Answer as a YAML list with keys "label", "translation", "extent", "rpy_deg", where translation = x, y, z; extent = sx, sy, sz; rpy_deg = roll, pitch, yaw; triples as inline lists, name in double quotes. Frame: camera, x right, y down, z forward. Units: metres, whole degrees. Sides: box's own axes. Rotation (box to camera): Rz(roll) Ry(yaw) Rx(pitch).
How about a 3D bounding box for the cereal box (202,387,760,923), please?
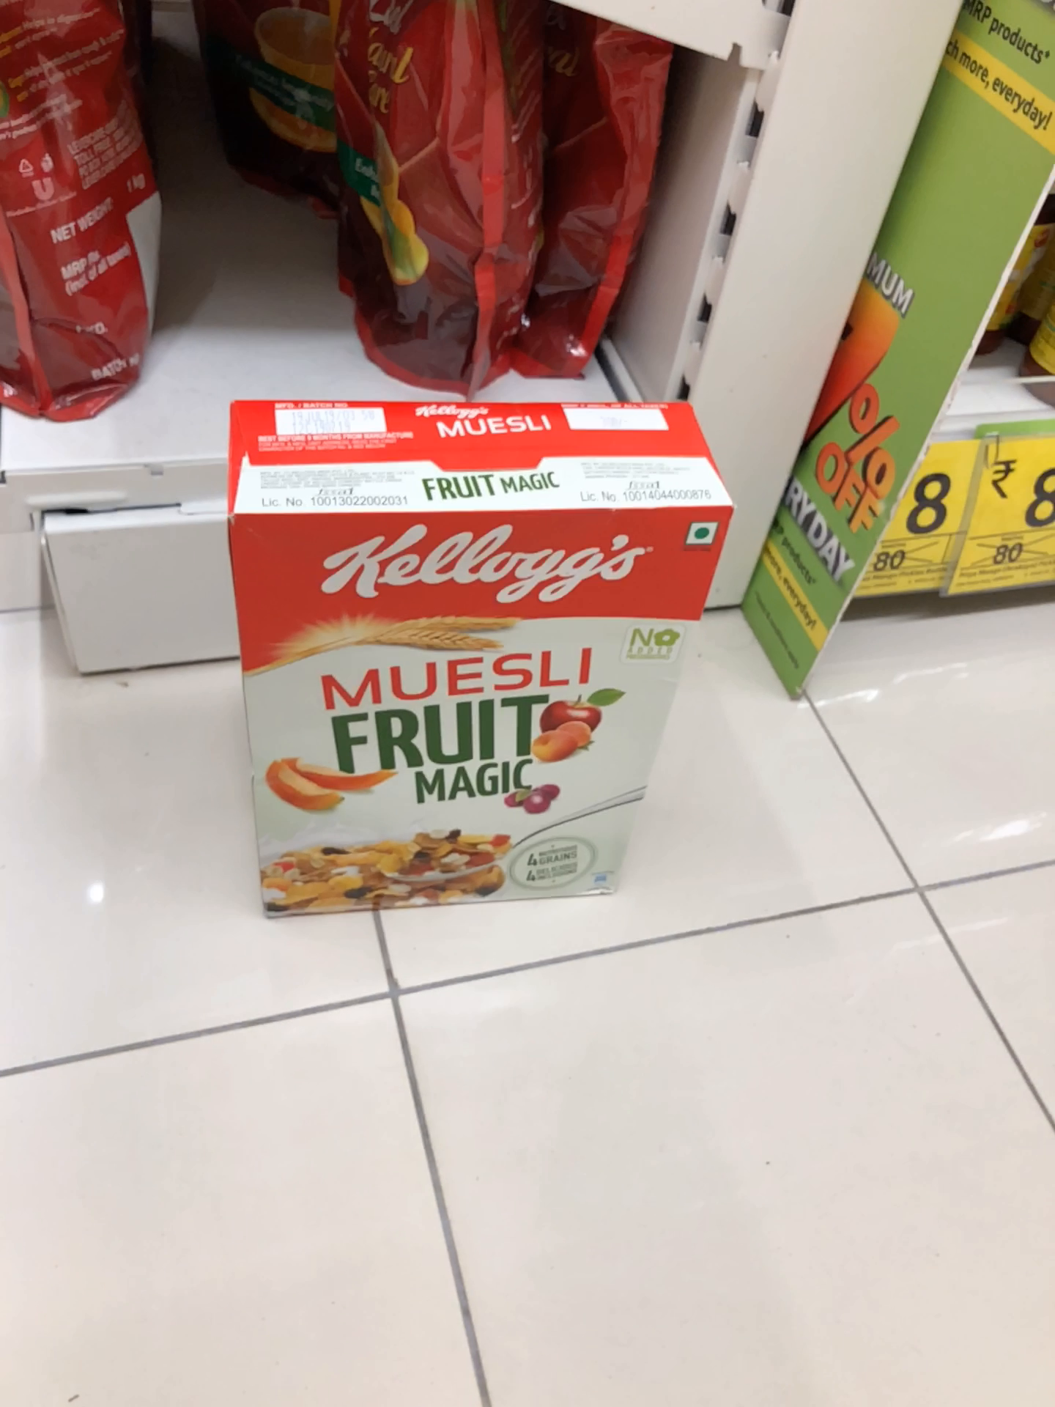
- label: "cereal box"
  translation: [-0.032, -0.011, 0.508]
  extent: [0.190, 0.239, 0.080]
  rpy_deg: [-3, 49, -12]
